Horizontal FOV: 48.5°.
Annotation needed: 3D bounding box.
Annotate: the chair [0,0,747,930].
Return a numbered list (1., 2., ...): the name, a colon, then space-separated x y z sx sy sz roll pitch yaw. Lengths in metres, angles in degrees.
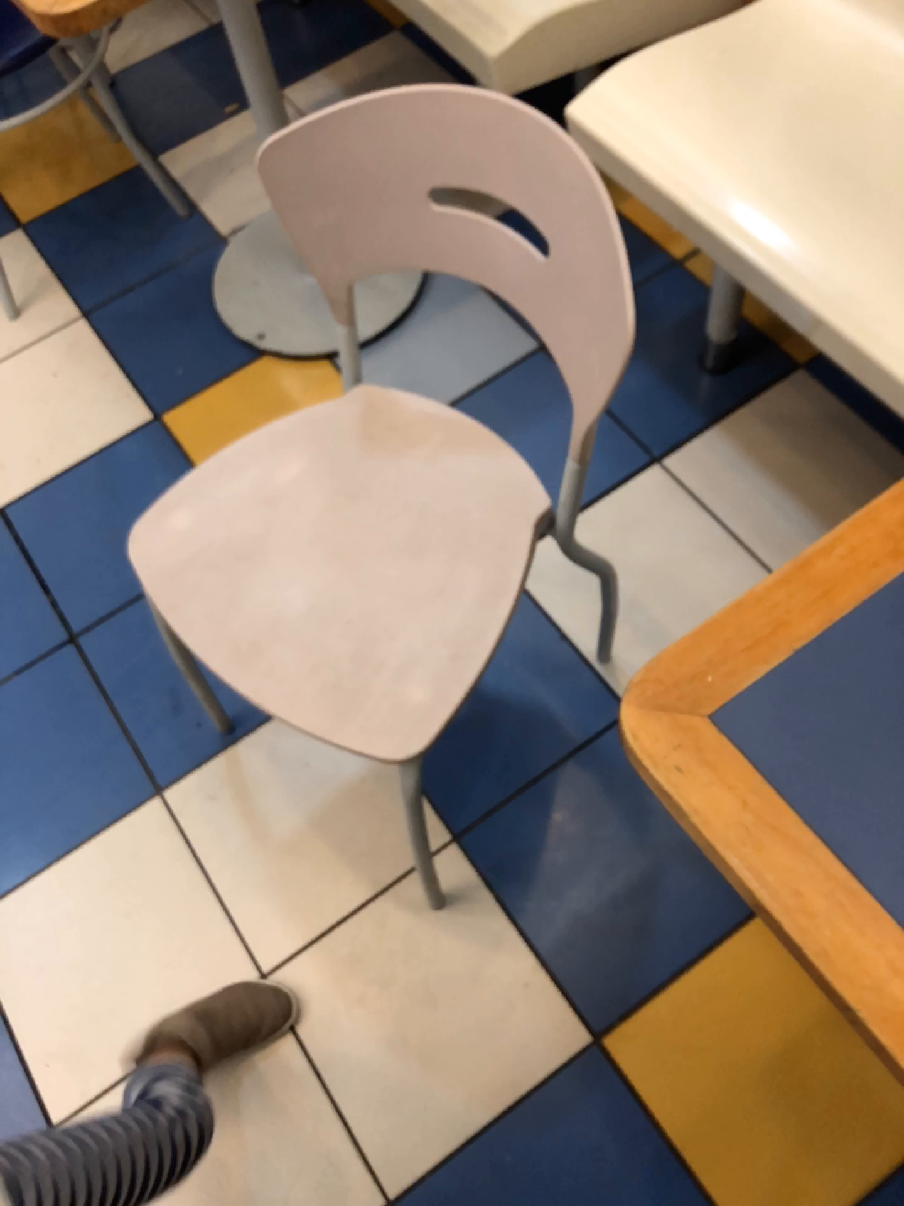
1. chair: -0.080 -0.062 1.061 0.451 0.797 0.471 37 72 22
